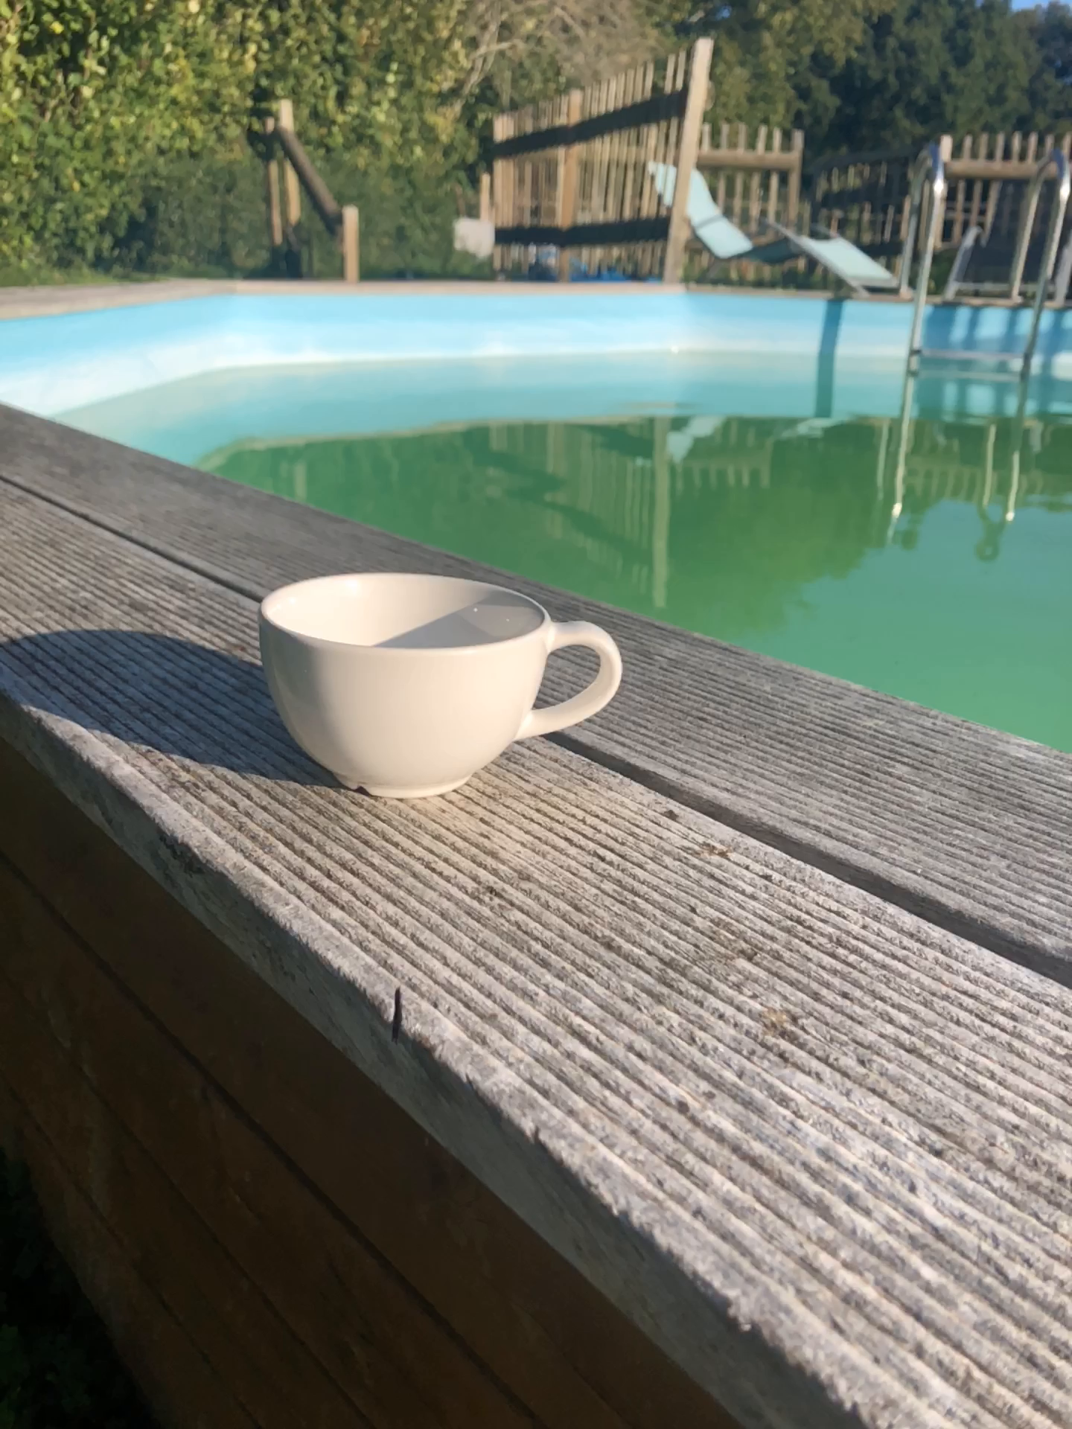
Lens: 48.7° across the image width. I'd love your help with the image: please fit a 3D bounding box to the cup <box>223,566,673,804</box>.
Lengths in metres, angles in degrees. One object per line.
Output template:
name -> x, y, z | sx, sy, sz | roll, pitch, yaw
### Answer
cup -> -0.029, -0.014, 0.373 | 0.120, 0.038, 0.105 | -2, 22, -7
